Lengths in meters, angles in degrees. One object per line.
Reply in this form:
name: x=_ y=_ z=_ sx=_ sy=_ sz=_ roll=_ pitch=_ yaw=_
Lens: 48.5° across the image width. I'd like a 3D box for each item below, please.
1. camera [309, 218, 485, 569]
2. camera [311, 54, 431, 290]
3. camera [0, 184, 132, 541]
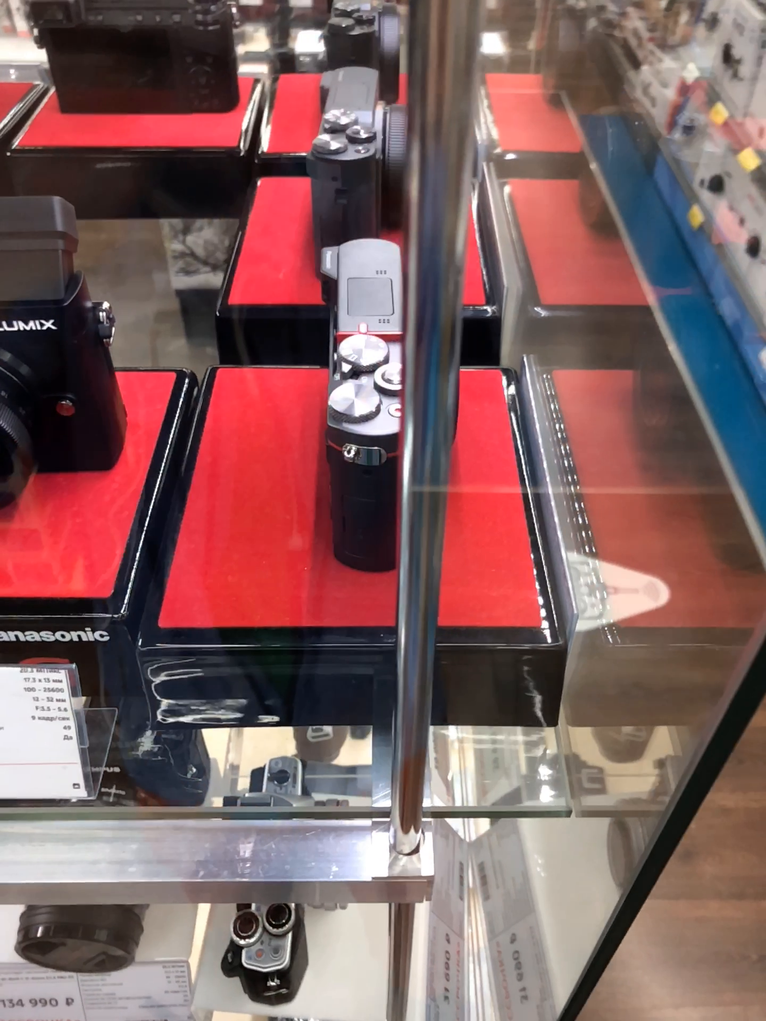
camera: x=0.003 y=-0.045 z=0.303 sx=0.050 sy=0.070 sz=0.113 roll=0 pitch=45 yaw=-1
camera: x=-0.003 y=-0.173 z=0.428 sx=0.051 sy=0.070 sz=0.113 roll=2 pitch=45 yaw=1
camera: x=-0.161 y=-0.050 z=0.298 sx=0.113 sy=0.101 sz=0.069 roll=-1 pitch=45 yaw=-2
